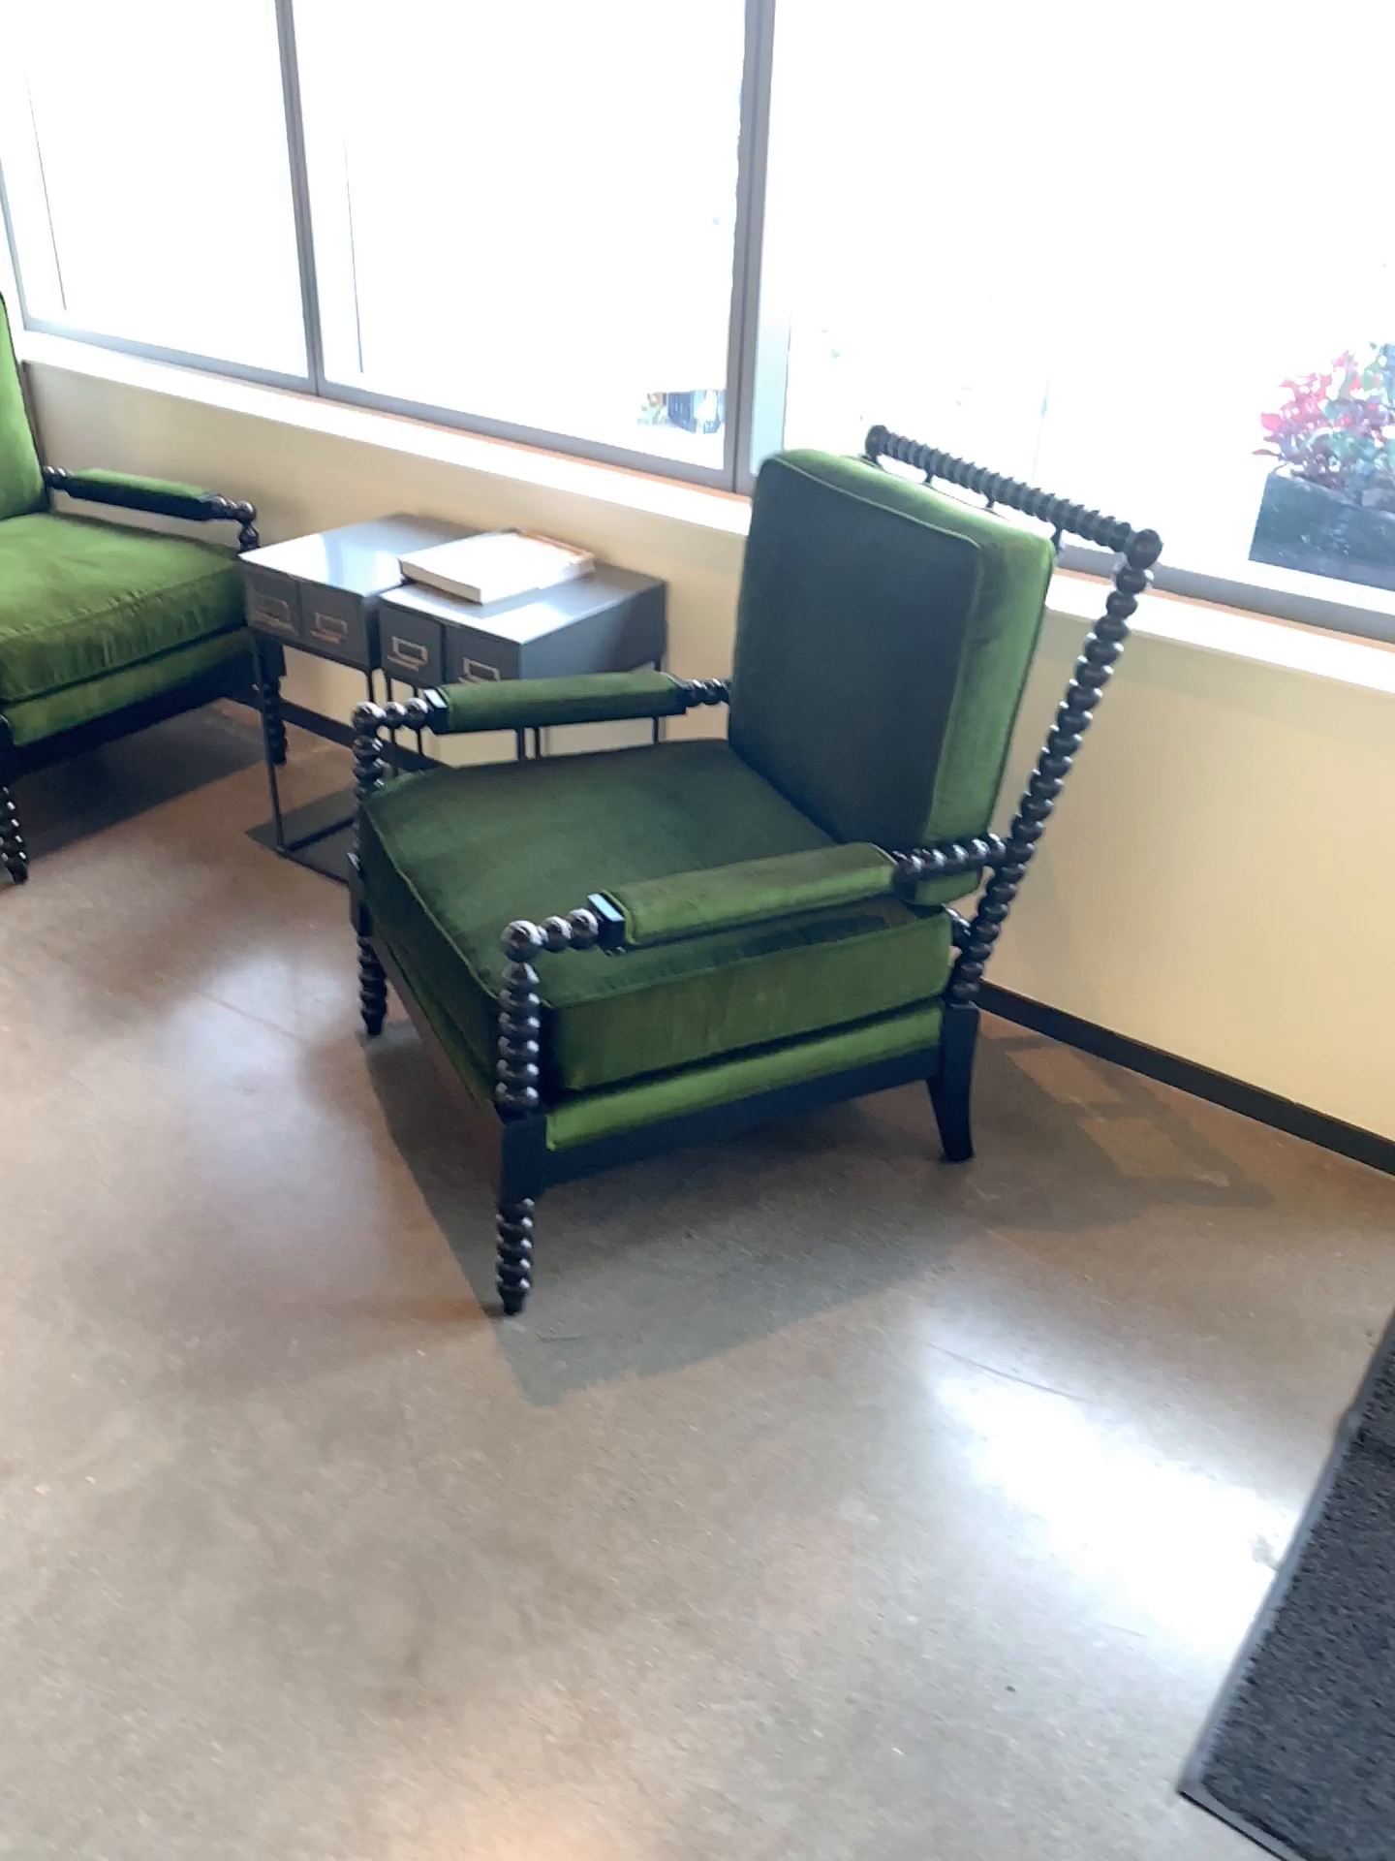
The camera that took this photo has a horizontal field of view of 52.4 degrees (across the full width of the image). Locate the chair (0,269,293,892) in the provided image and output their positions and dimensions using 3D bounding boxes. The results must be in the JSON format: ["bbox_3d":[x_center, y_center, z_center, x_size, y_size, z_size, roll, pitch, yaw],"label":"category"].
[{"bbox_3d":[-1.508,-0.786,2.989,0.922,0.974,0.733,19,35,25],"label":"chair"}]

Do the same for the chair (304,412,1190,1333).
[{"bbox_3d":[0.008,-0.158,2.112,0.920,0.984,0.765,-12,34,-23],"label":"chair"}]
